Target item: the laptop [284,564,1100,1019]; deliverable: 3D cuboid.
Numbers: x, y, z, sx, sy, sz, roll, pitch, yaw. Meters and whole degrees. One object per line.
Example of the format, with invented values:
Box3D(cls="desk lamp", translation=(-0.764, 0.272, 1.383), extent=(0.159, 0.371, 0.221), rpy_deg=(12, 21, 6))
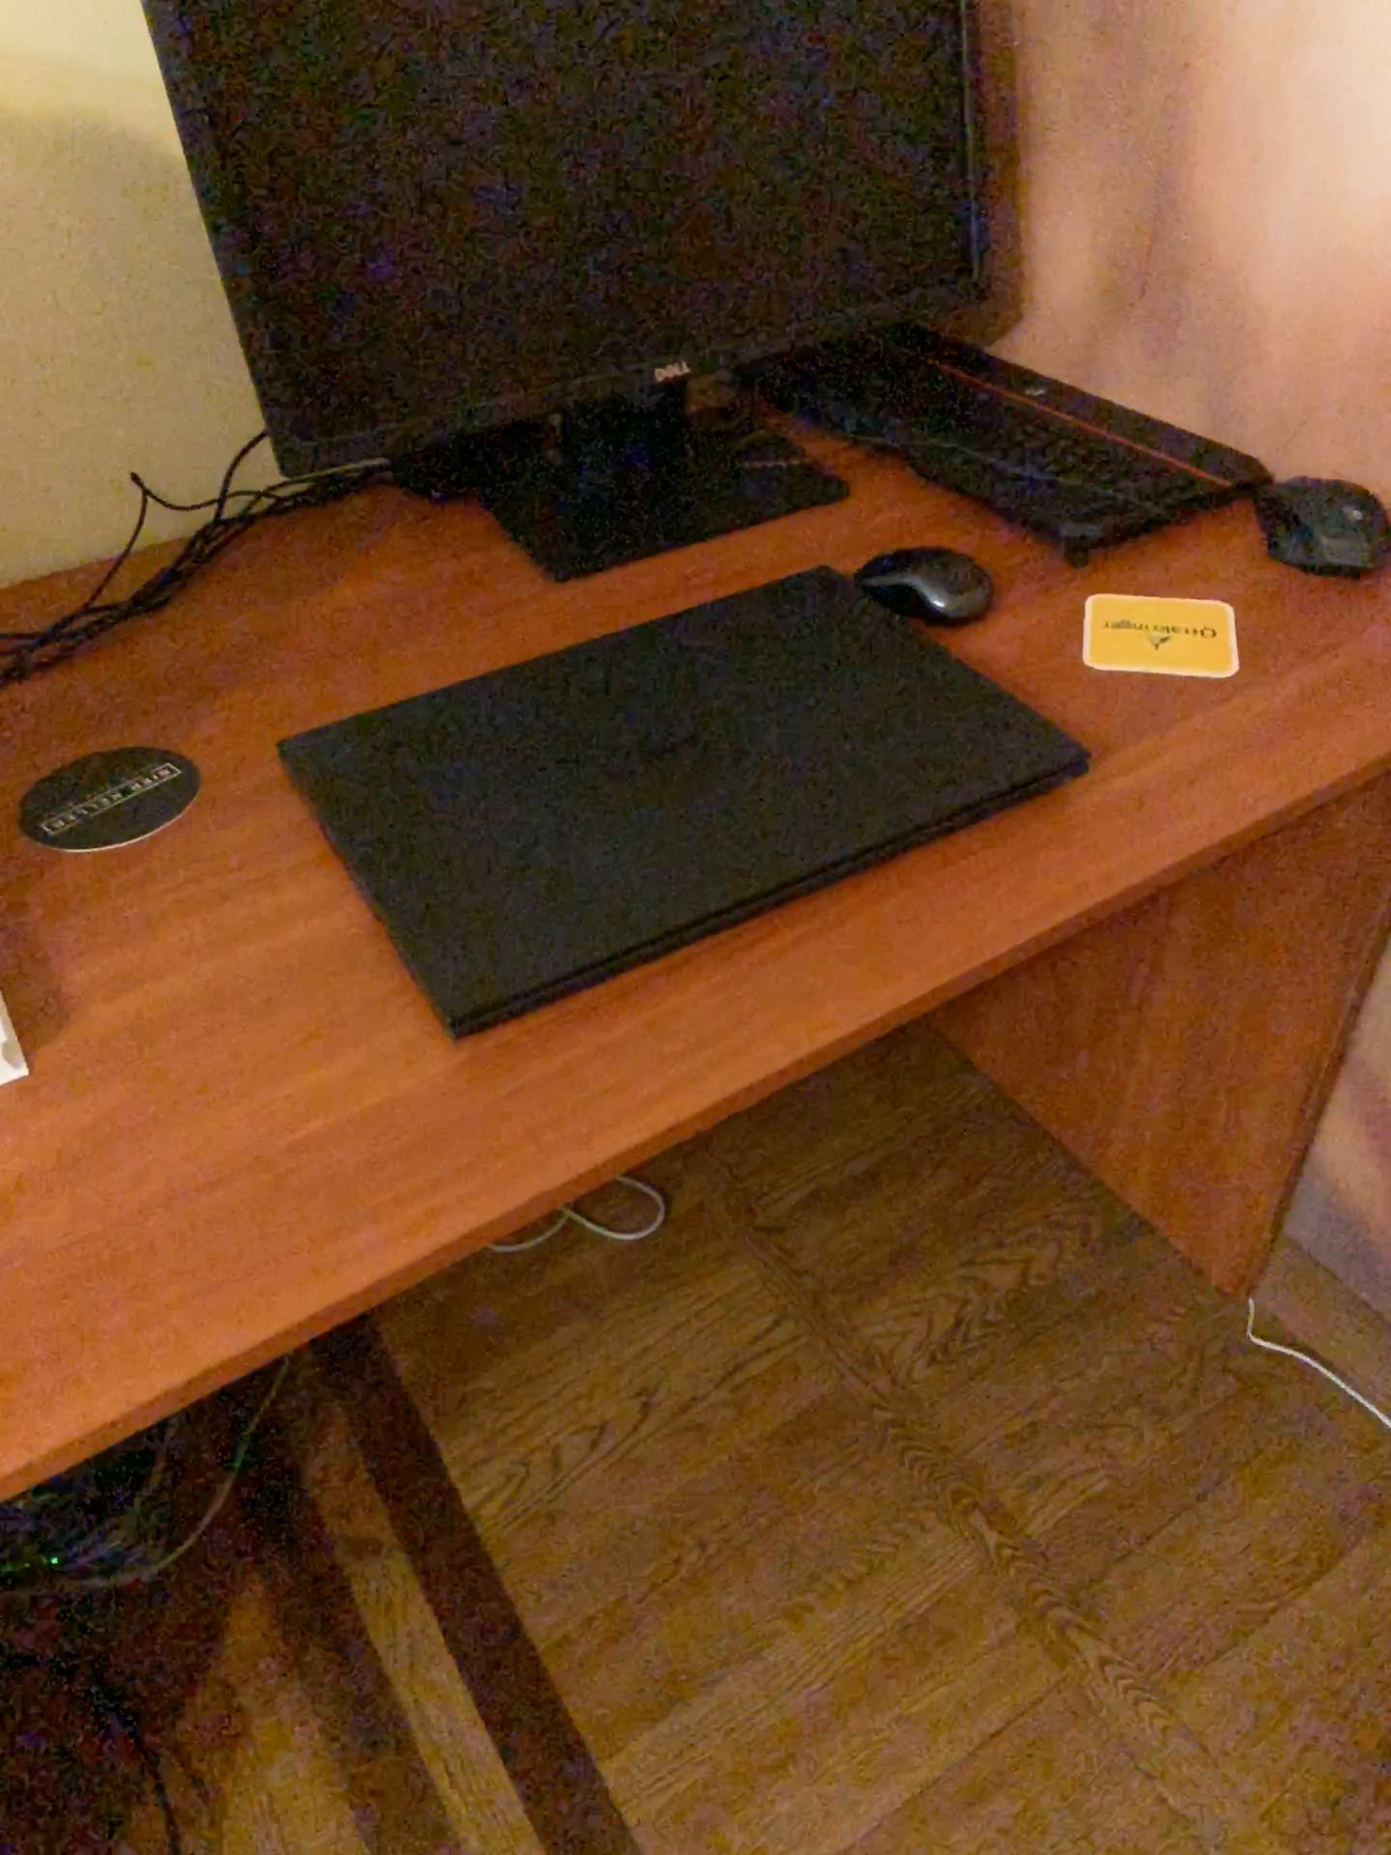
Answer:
Box3D(cls="laptop", translation=(-0.008, -0.094, 0.729), extent=(0.351, 0.001, 0.248), rpy_deg=(-22, 44, -21))
